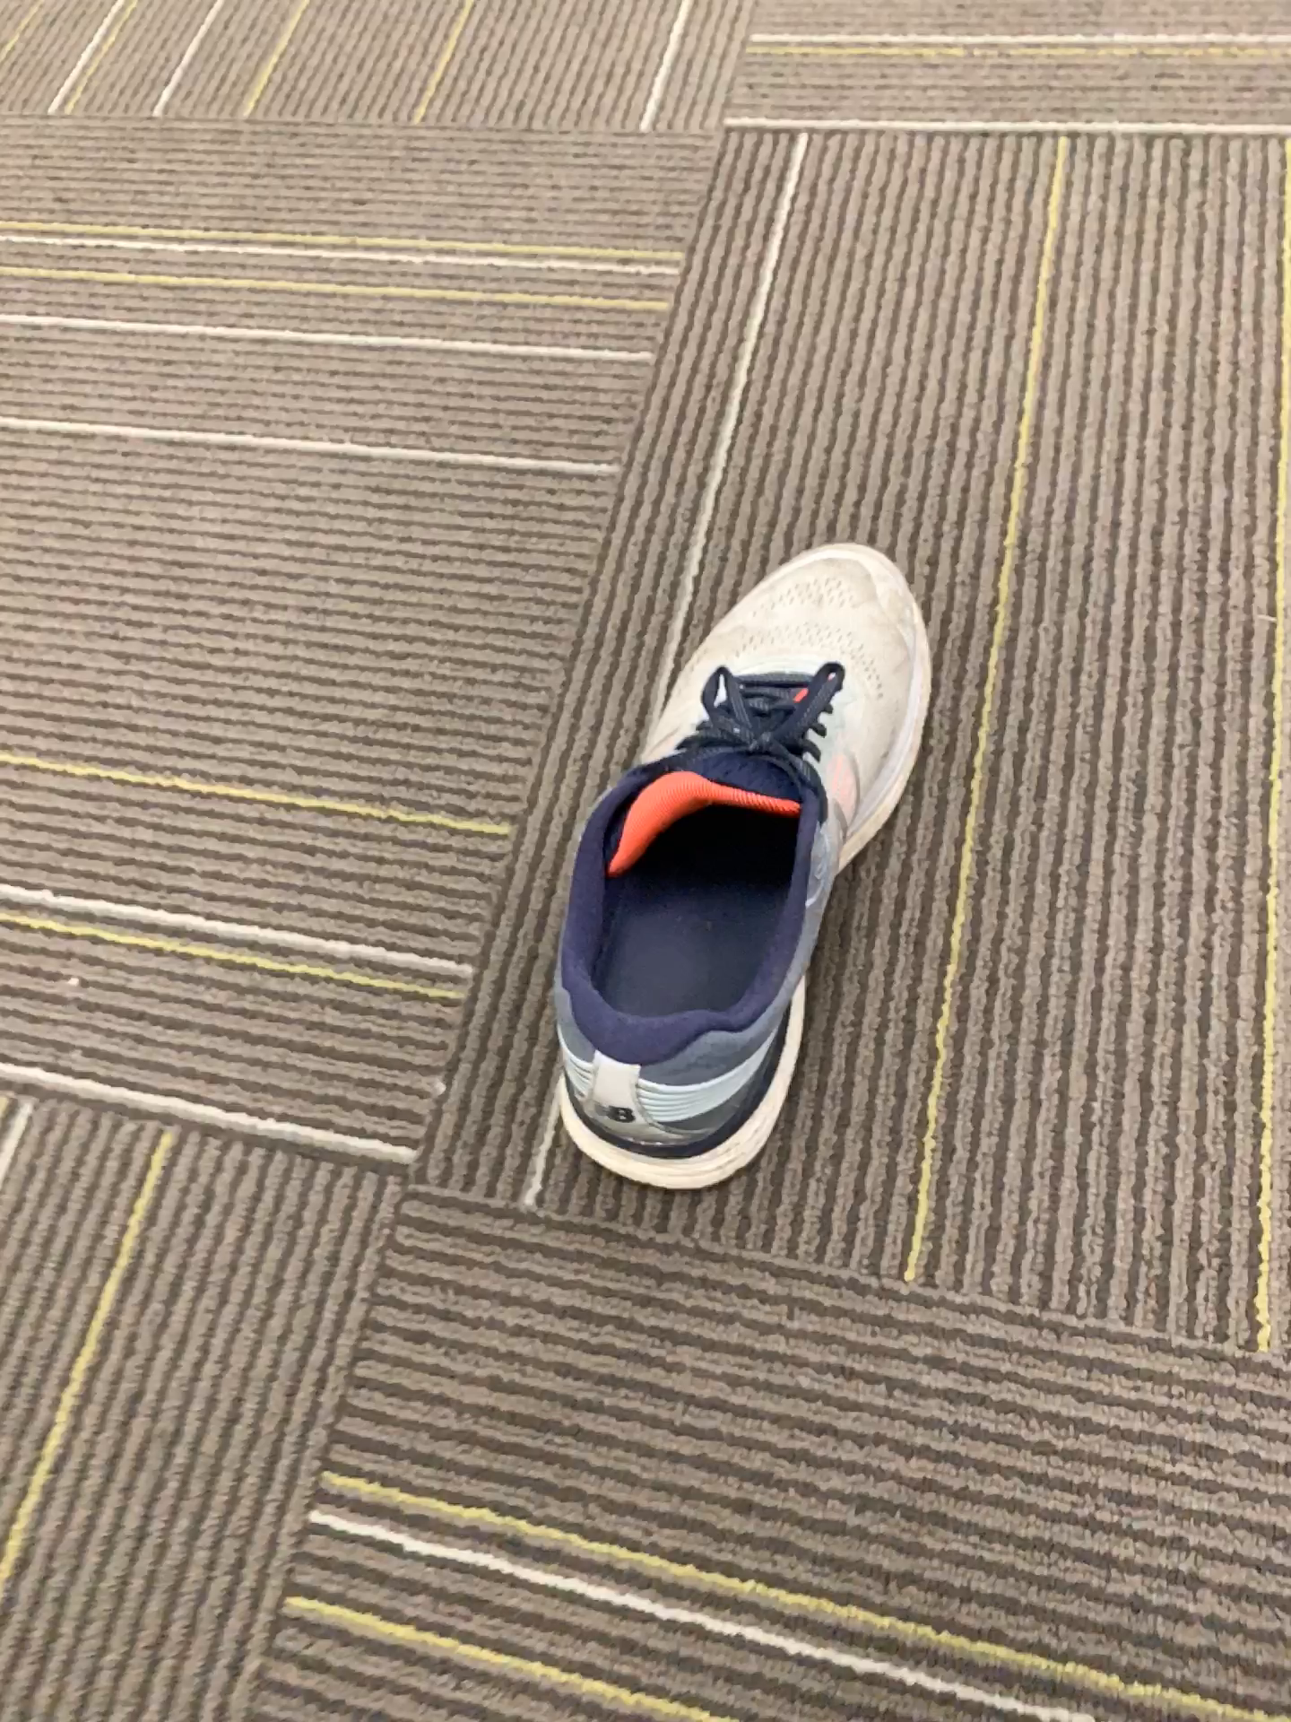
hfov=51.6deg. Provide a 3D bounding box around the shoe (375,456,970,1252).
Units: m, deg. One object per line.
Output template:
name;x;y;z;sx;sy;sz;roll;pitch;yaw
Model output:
shoe;0.024;-0.015;0.532;0.130;0.080;0.291;16;66;16
